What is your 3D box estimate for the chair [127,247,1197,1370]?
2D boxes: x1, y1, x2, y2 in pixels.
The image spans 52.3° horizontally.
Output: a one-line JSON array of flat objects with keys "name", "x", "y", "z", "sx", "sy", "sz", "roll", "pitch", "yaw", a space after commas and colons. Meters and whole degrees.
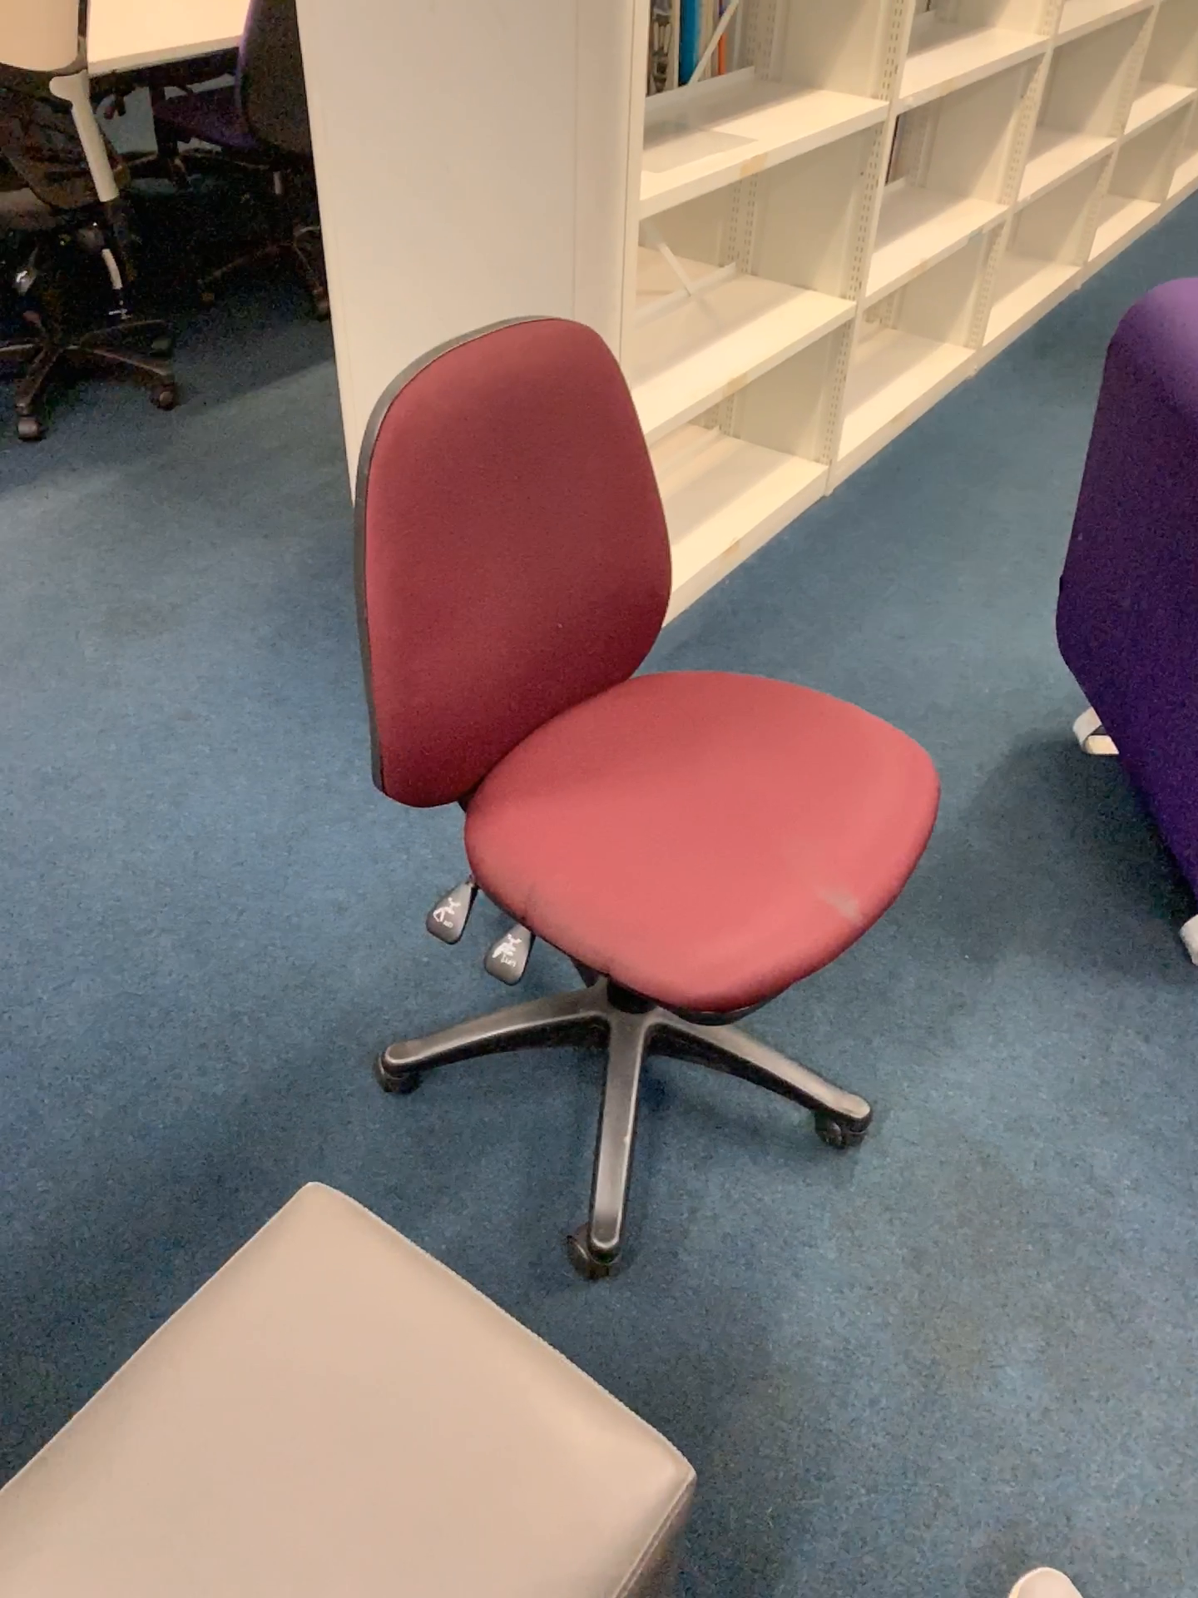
[{"name": "chair", "x": 0.057, "y": -0.037, "z": 1.325, "sx": 0.693, "sy": 0.782, "sz": 0.654, "roll": 30, "pitch": 48, "yaw": 28}]
